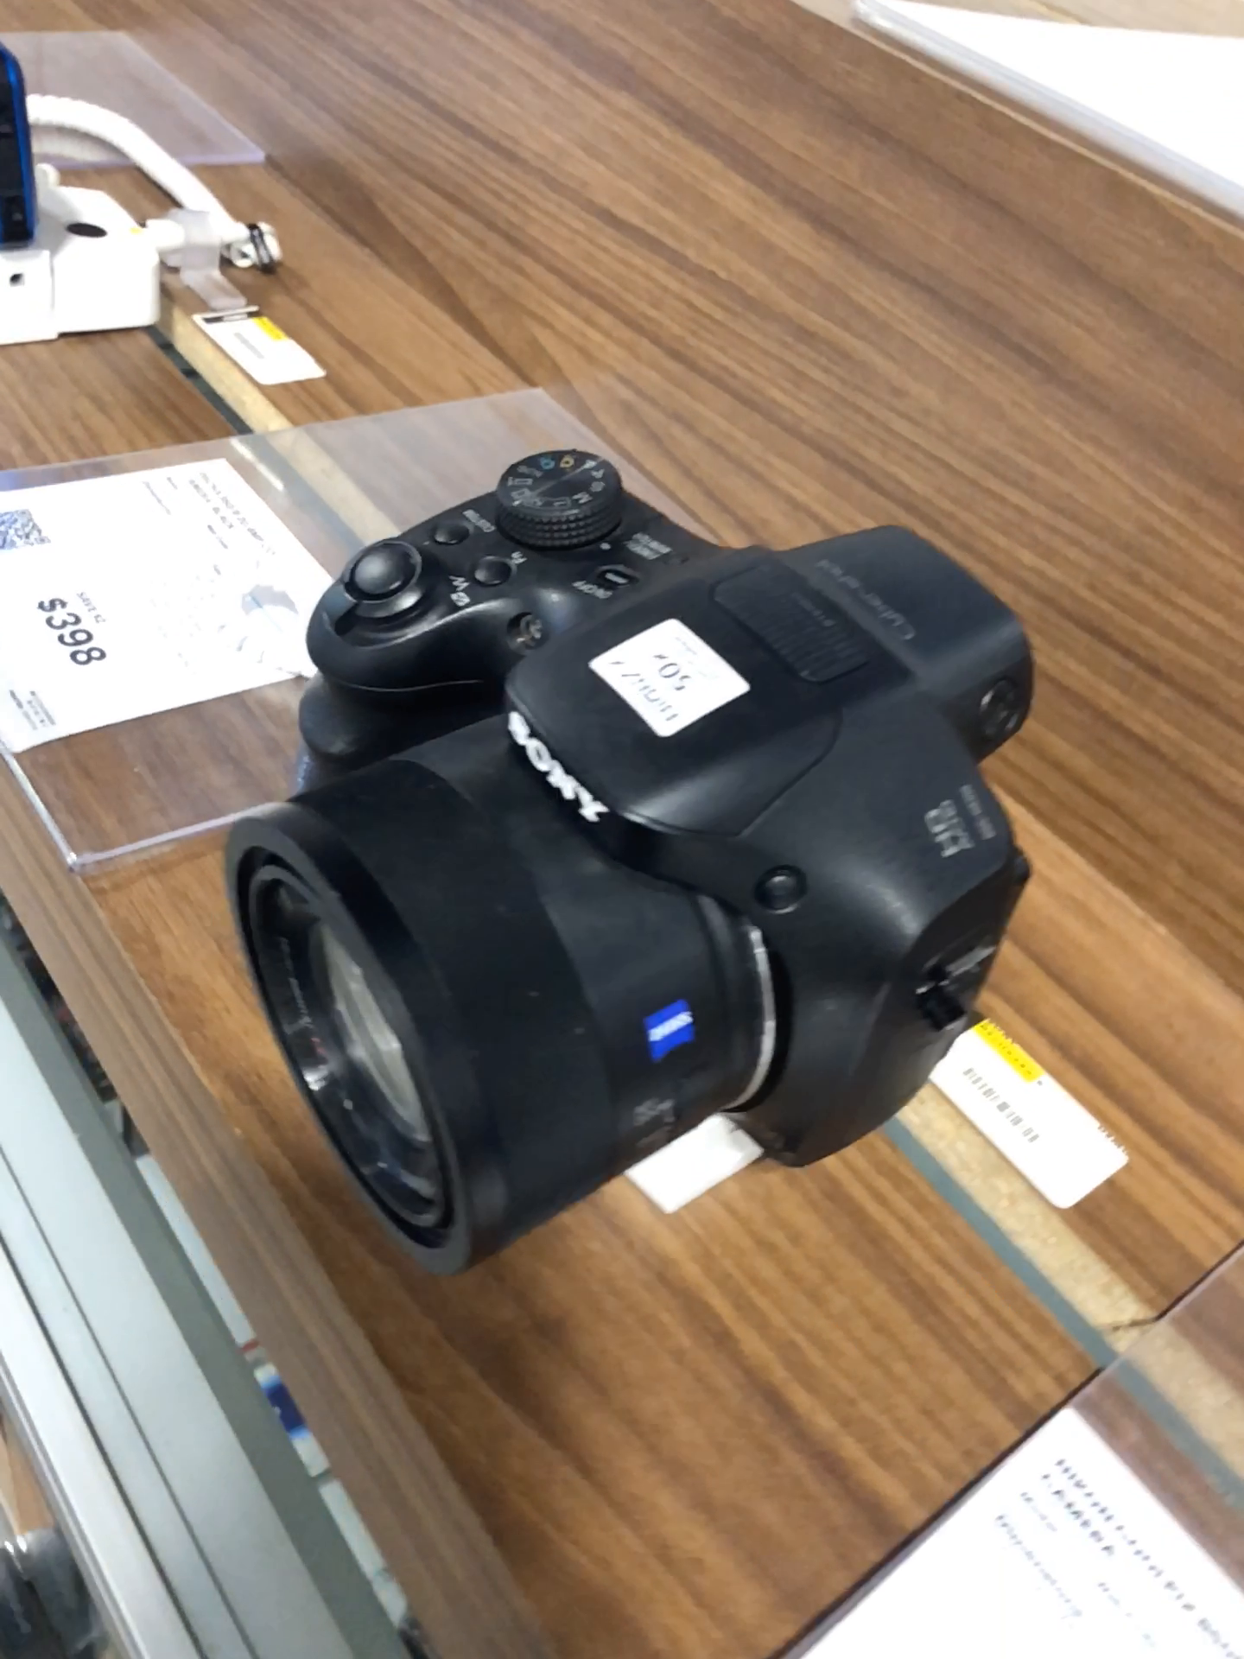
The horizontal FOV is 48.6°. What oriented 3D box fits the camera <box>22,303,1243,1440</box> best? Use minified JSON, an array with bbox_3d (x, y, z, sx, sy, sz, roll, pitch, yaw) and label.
[{"bbox_3d":[-0.004,-0.009,0.229,0.130,0.089,0.130,-22,54,-36],"label":"camera"}]
